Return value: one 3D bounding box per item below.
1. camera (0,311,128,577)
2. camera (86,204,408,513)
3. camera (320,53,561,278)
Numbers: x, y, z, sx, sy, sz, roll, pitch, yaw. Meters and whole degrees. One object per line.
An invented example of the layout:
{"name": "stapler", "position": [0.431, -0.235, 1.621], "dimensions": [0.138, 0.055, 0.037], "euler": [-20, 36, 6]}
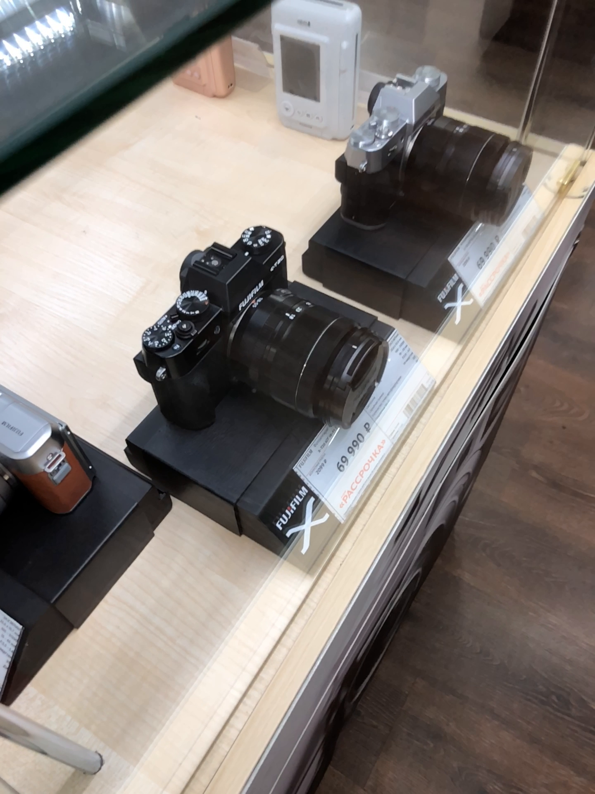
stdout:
{"name": "camera", "position": [-0.168, 0.023, 0.349], "dimensions": [0.122, 0.064, 0.075], "euler": [26, 59, 19]}
{"name": "camera", "position": [-0.025, -0.028, 0.393], "dimensions": [0.130, 0.080, 0.122], "euler": [28, 60, 20]}
{"name": "camera", "position": [0.104, -0.177, 0.490], "dimensions": [0.124, 0.072, 0.130], "euler": [26, 59, 19]}
